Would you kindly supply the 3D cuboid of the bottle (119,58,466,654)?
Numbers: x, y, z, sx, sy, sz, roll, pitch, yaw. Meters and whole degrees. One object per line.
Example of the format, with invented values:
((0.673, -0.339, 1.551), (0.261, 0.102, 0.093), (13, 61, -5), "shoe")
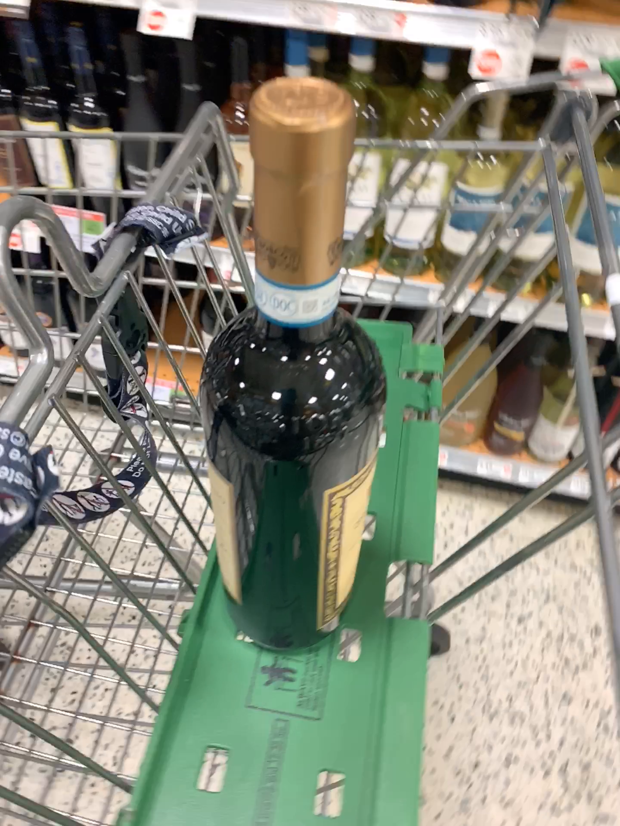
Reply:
((-0.008, 0.010, 0.278), (0.080, 0.277, 0.081), (1, 48, -1), "bottle")
